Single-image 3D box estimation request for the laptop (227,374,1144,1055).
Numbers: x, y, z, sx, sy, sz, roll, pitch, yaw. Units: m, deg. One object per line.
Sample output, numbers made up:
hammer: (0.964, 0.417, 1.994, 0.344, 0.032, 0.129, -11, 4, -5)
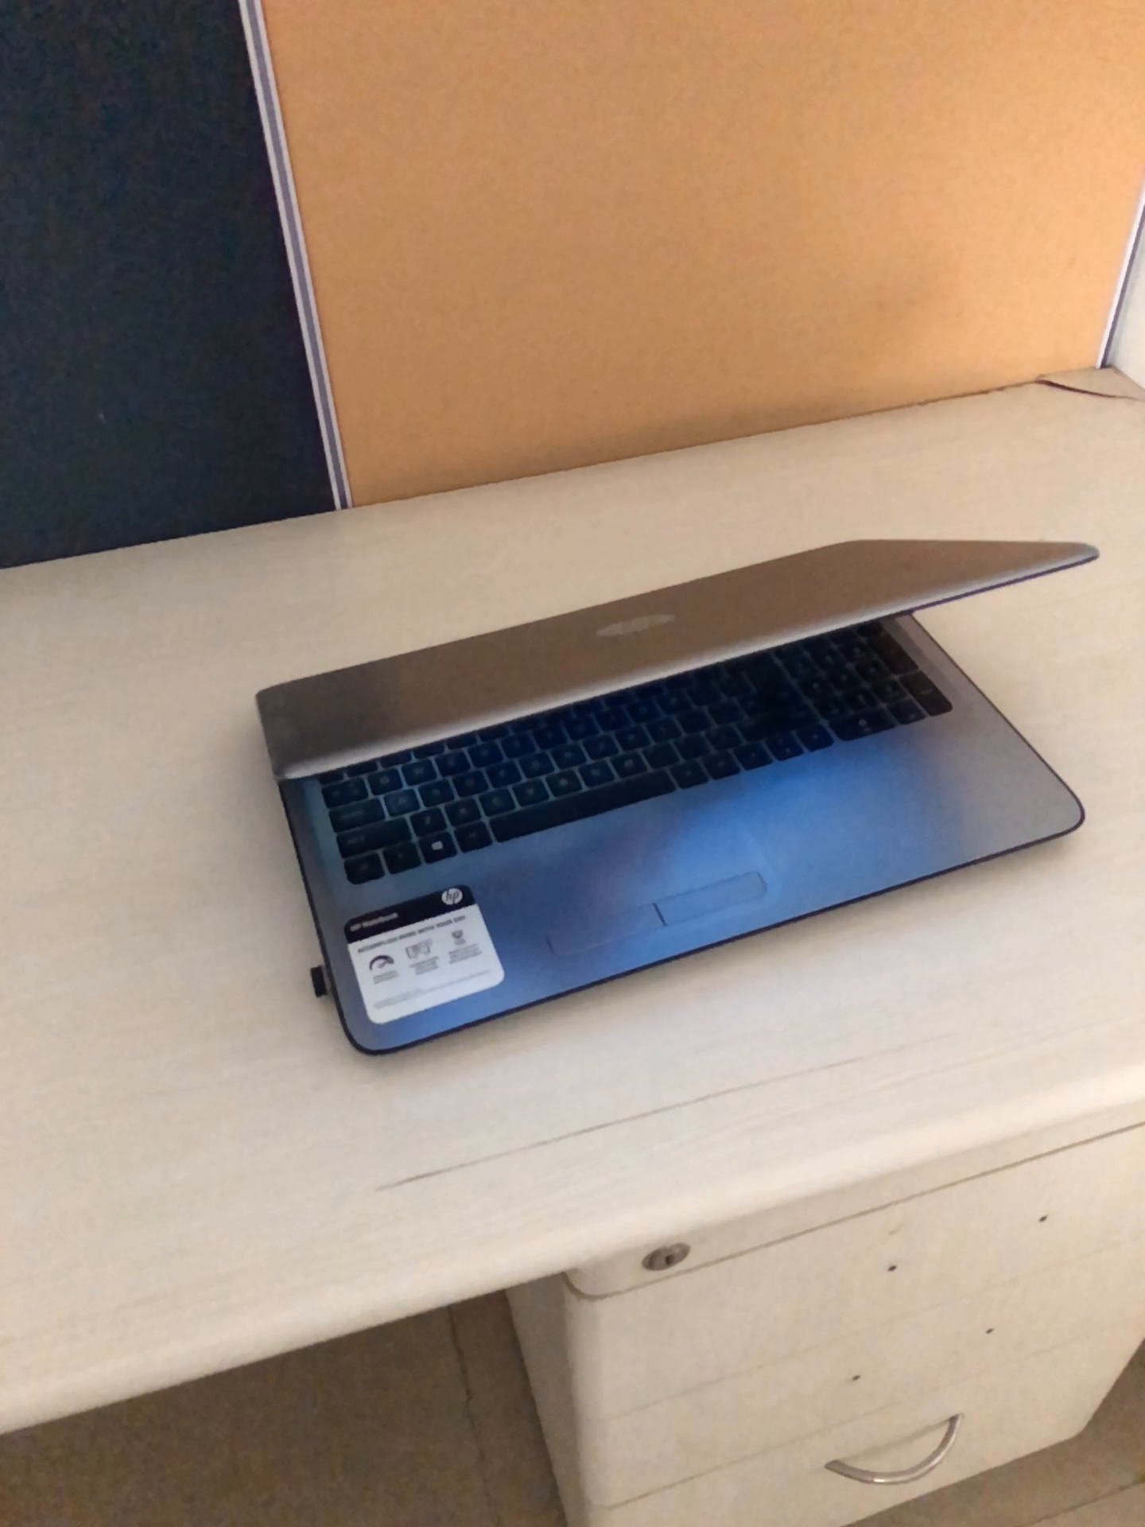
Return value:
laptop: (0.040, -0.047, 0.622, 0.364, 0.132, 0.239, -15, 44, -14)
